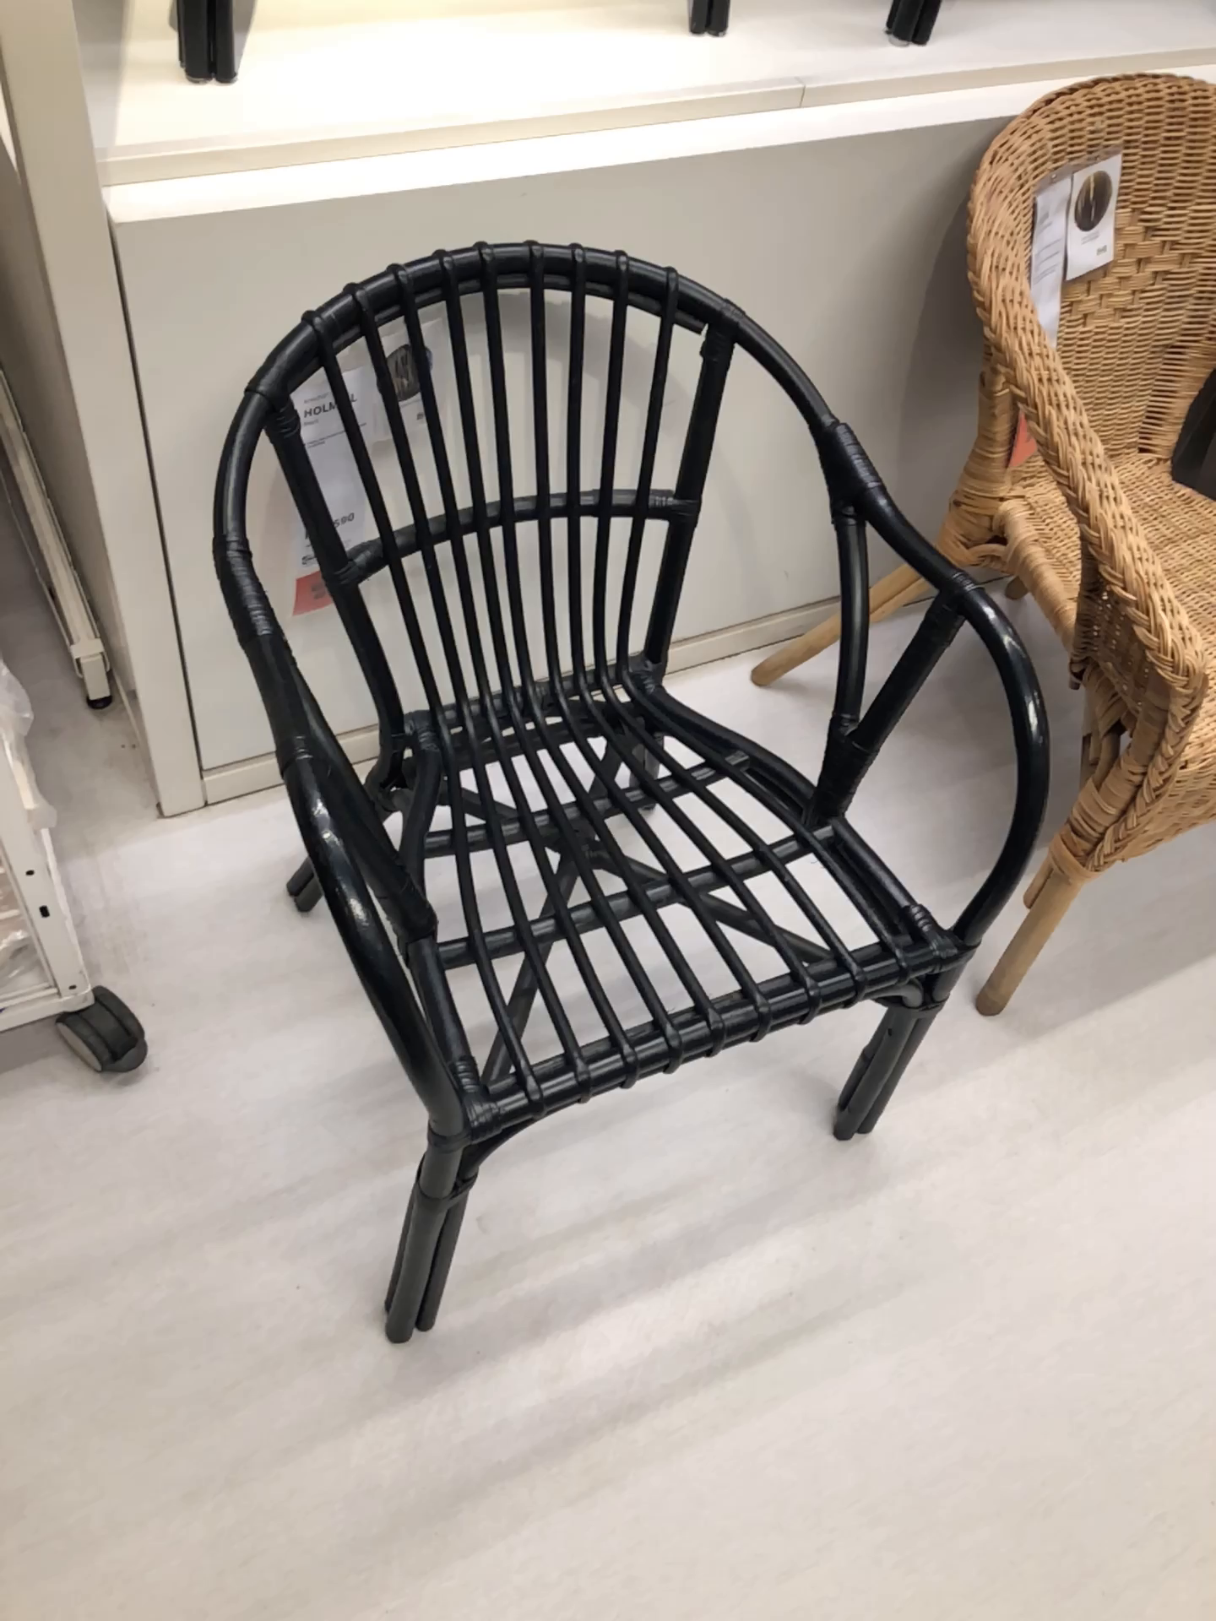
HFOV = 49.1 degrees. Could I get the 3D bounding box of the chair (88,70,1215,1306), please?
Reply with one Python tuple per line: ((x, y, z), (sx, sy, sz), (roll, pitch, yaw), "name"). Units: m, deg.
((-0.003, -0.052, 1.044), (0.551, 0.756, 0.472), (-18, 60, -22), "chair")
